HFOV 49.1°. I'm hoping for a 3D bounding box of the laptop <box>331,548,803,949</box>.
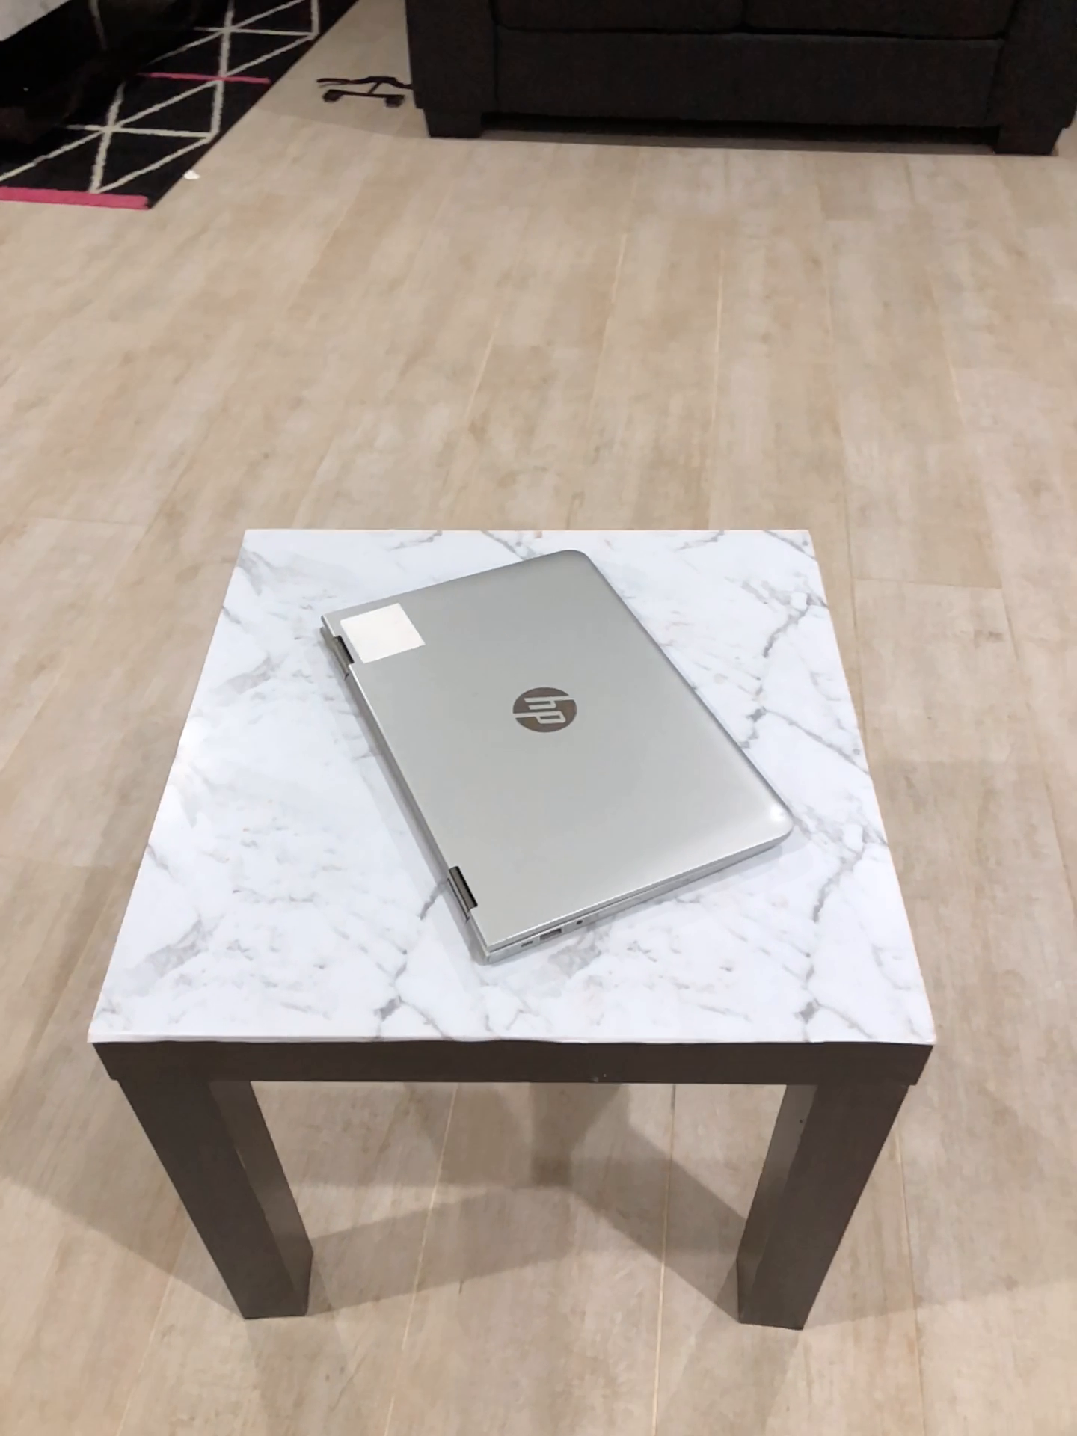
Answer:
[{"bbox_3d":[0.005,-0.001,0.755,0.197,0.001,0.293,-18,48,-17],"label":"laptop"}]
